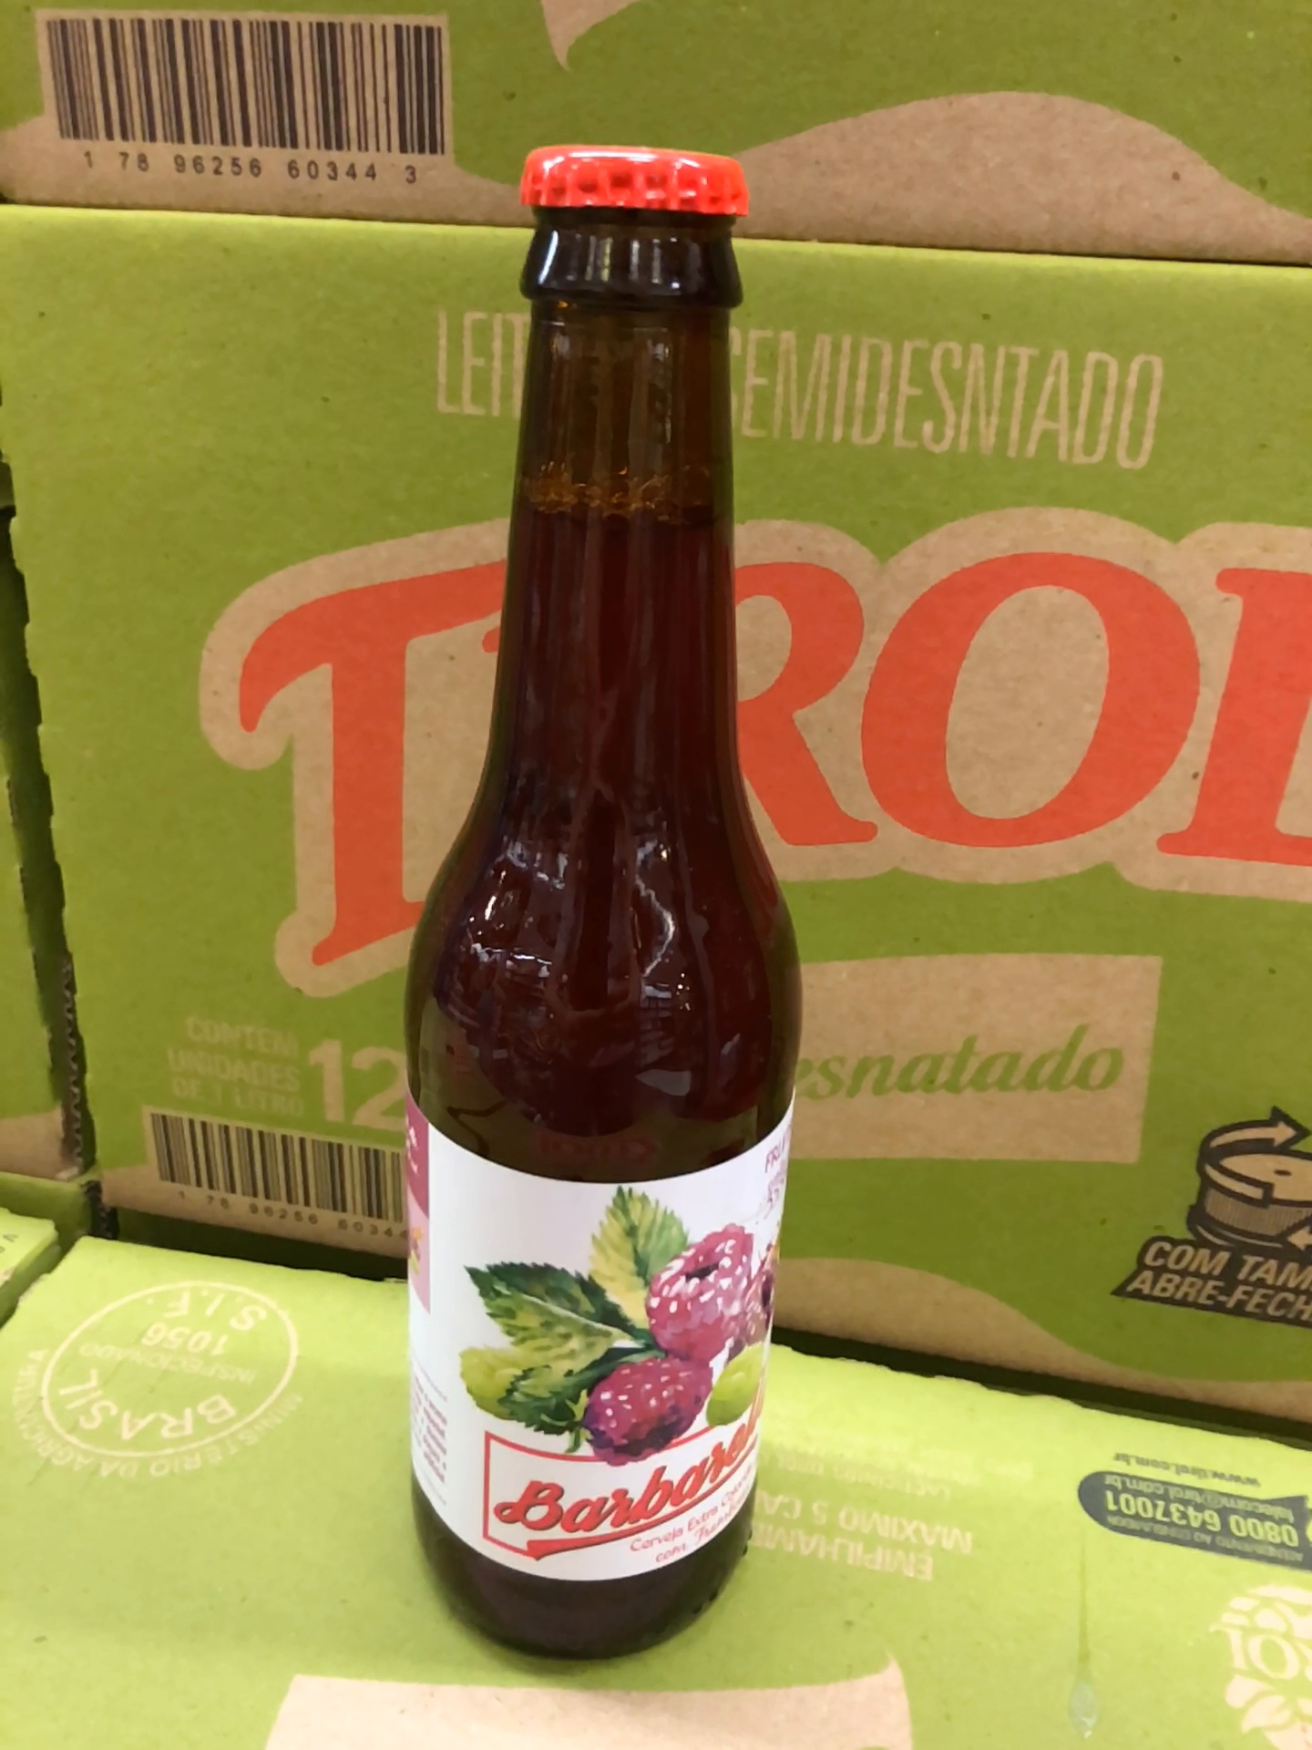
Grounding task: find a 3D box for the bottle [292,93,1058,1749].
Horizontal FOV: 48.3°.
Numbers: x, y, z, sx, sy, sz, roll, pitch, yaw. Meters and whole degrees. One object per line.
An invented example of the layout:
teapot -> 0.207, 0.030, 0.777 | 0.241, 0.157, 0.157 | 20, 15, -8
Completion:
bottle -> -0.006, 0.016, 0.220 | 0.070, 0.228, 0.060 | -12, 28, -32
